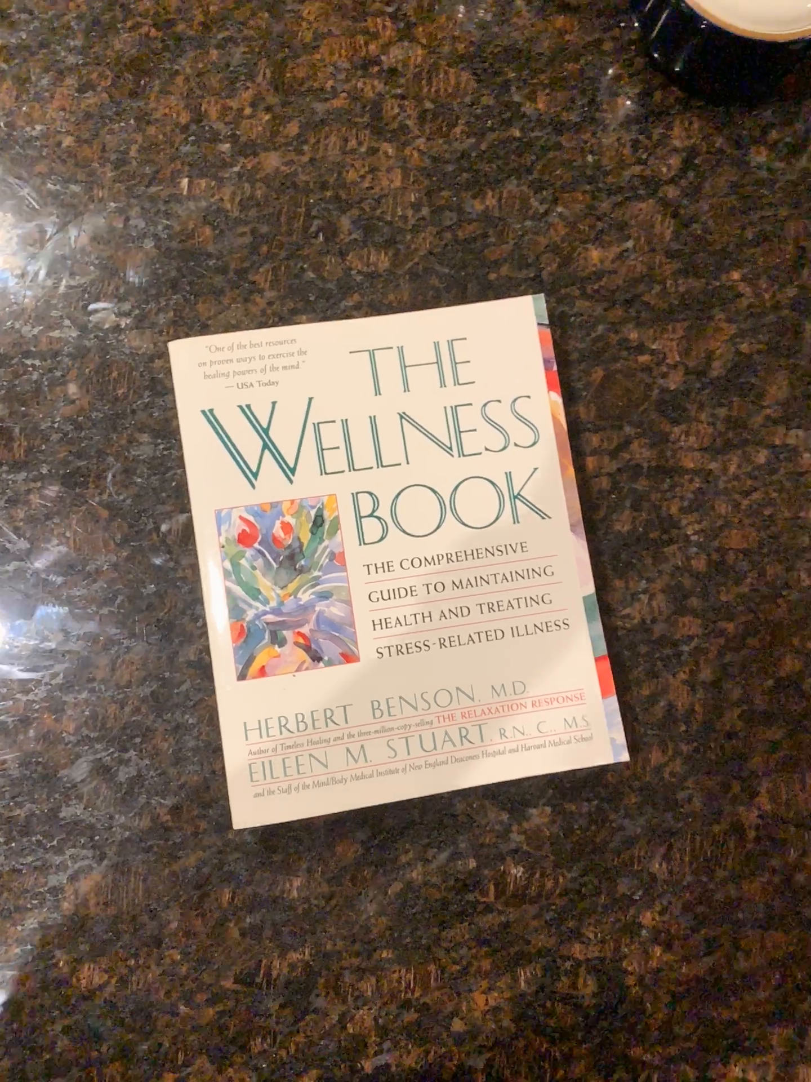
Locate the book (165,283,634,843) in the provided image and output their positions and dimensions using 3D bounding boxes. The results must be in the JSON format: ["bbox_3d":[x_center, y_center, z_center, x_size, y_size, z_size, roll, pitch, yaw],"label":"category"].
[{"bbox_3d":[-0.006,0.007,0.424,0.187,0.060,0.240,-8,84,-6],"label":"book"}]
